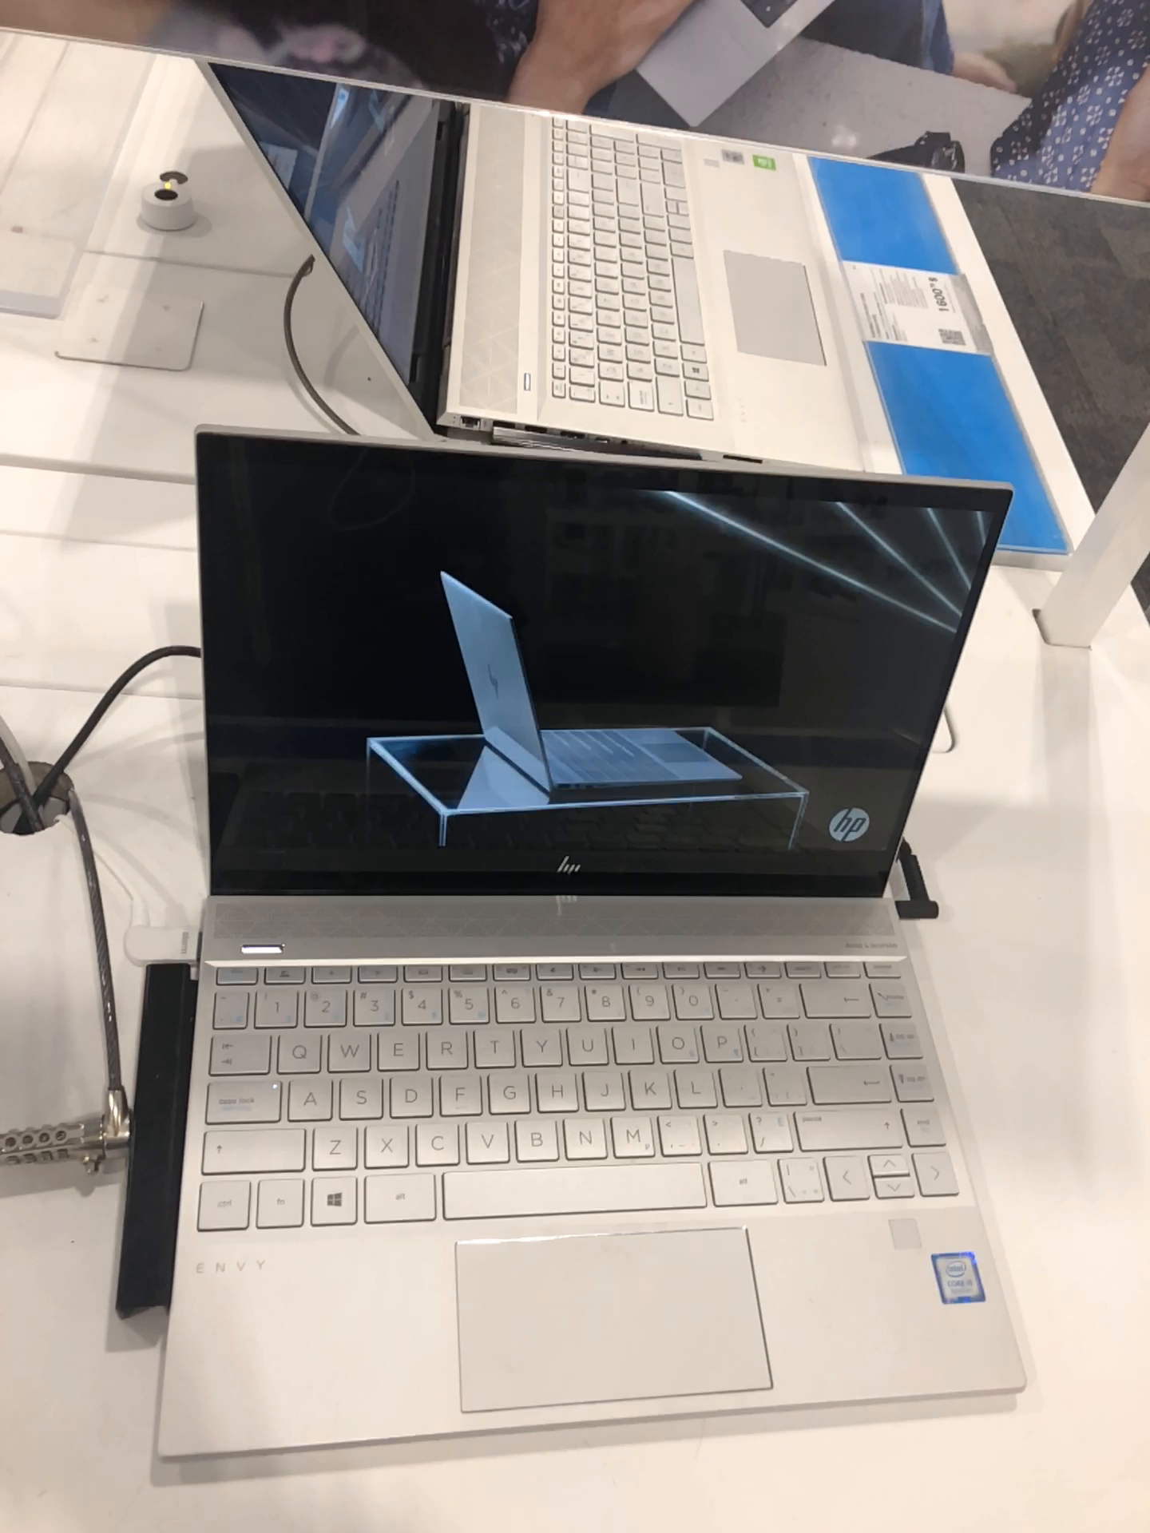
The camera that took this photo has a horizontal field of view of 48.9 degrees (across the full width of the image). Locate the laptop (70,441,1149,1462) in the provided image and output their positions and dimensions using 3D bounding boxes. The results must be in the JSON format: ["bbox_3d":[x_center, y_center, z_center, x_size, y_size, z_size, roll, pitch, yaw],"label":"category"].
[{"bbox_3d":[0.017,0.057,0.441,0.298,0.182,0.272,1,52,-11],"label":"laptop"}]
